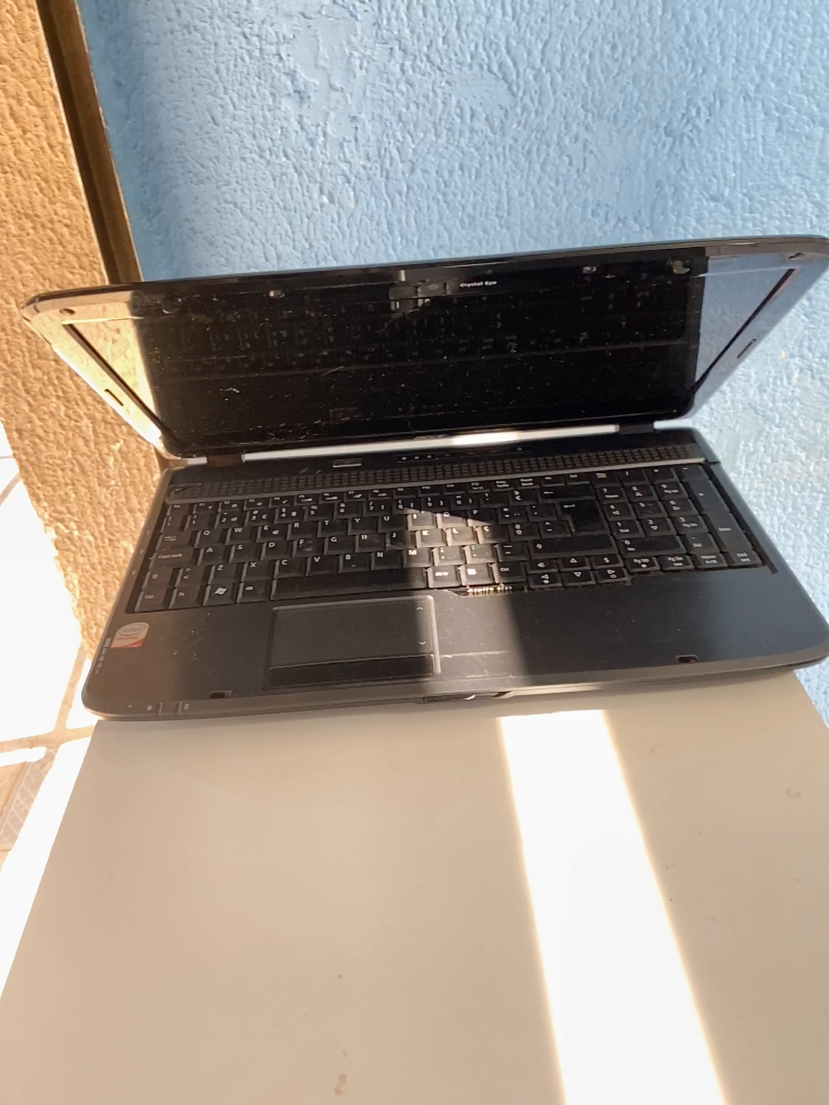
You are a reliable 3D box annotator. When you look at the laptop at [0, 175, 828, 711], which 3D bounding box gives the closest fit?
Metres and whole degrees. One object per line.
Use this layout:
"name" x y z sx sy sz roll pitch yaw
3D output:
"laptop" 0.013 -0.078 0.475 0.378 0.174 0.237 -5 35 -1
